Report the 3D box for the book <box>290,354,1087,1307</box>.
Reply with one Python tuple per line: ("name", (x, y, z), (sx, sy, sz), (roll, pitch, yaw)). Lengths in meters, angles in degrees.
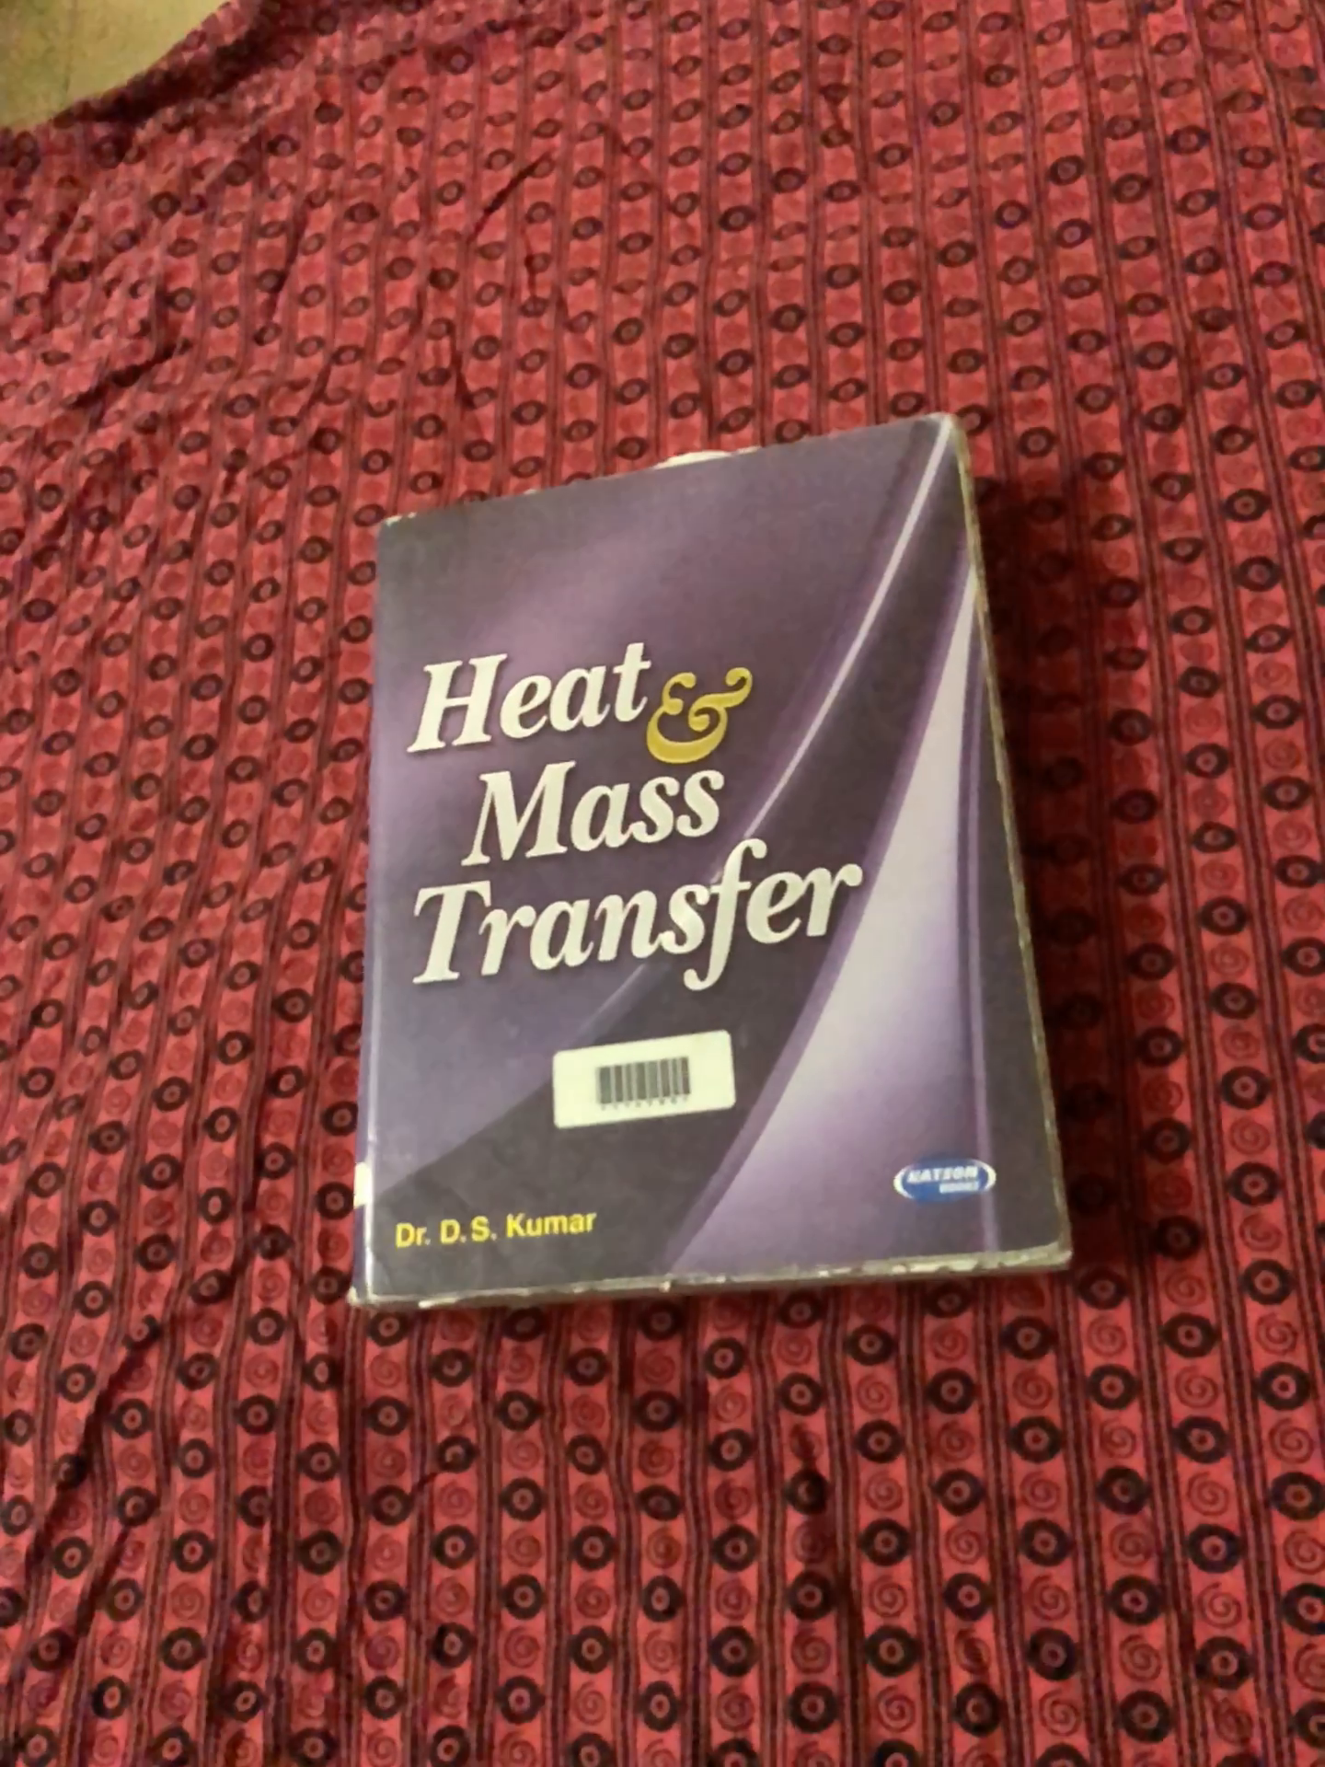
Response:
("book", (0.002, -0.012, 0.359), (0.170, 0.040, 0.211), (-7, 69, 14))
